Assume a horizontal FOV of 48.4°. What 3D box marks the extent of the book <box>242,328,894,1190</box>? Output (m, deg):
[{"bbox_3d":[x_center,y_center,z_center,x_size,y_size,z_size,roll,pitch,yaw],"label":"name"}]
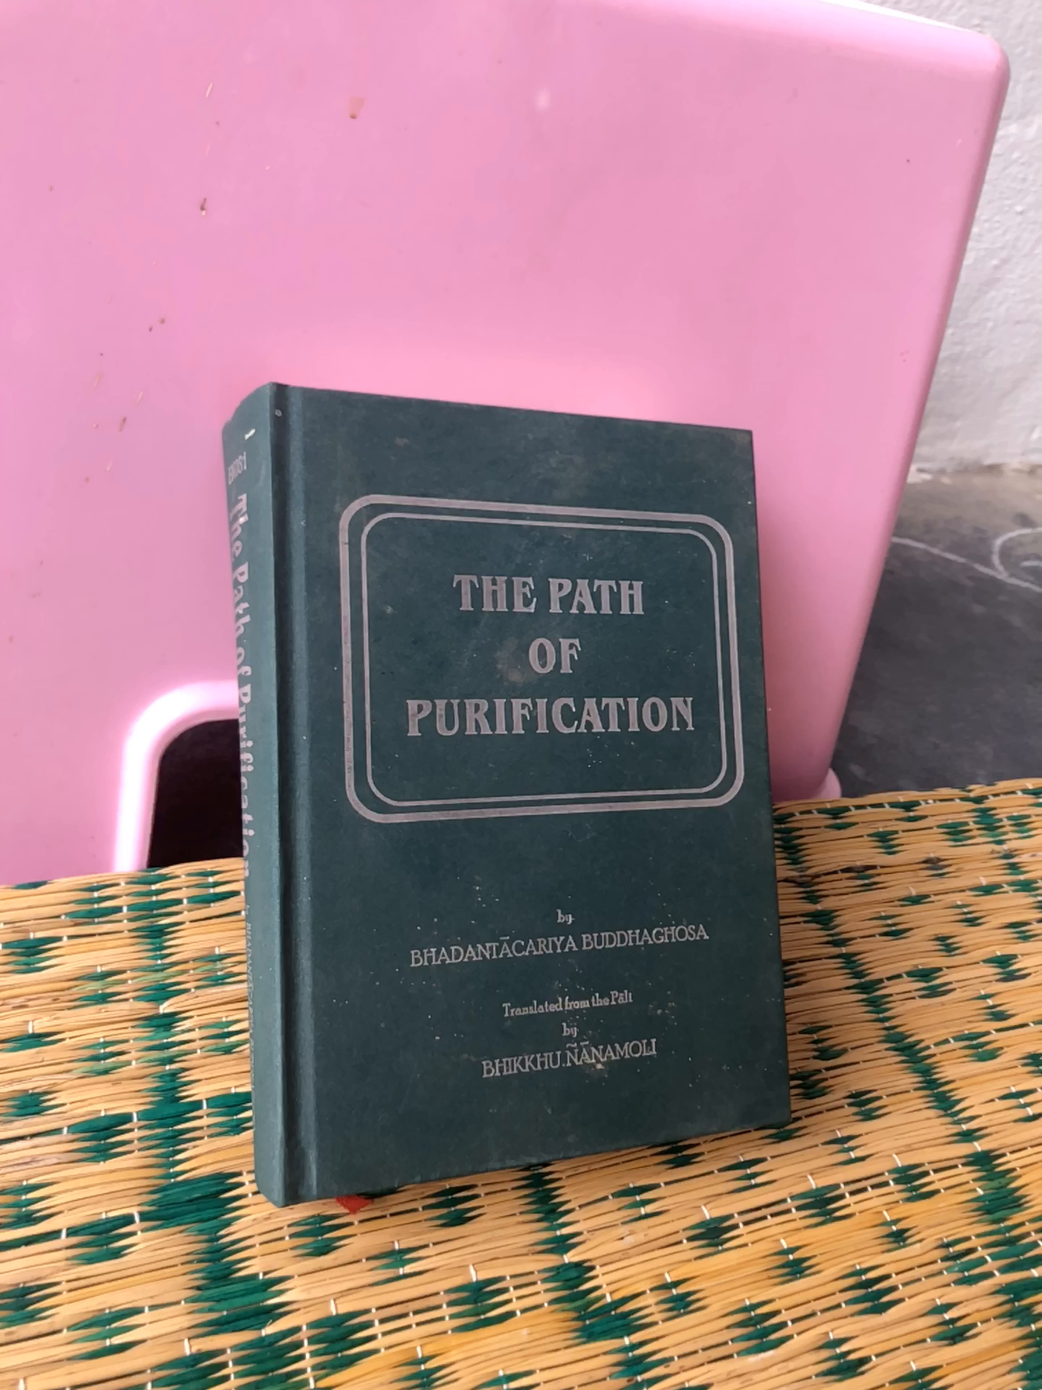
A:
[{"bbox_3d":[0.006,0.015,0.344,0.160,0.080,0.210,0,79,-20],"label":"book"}]
